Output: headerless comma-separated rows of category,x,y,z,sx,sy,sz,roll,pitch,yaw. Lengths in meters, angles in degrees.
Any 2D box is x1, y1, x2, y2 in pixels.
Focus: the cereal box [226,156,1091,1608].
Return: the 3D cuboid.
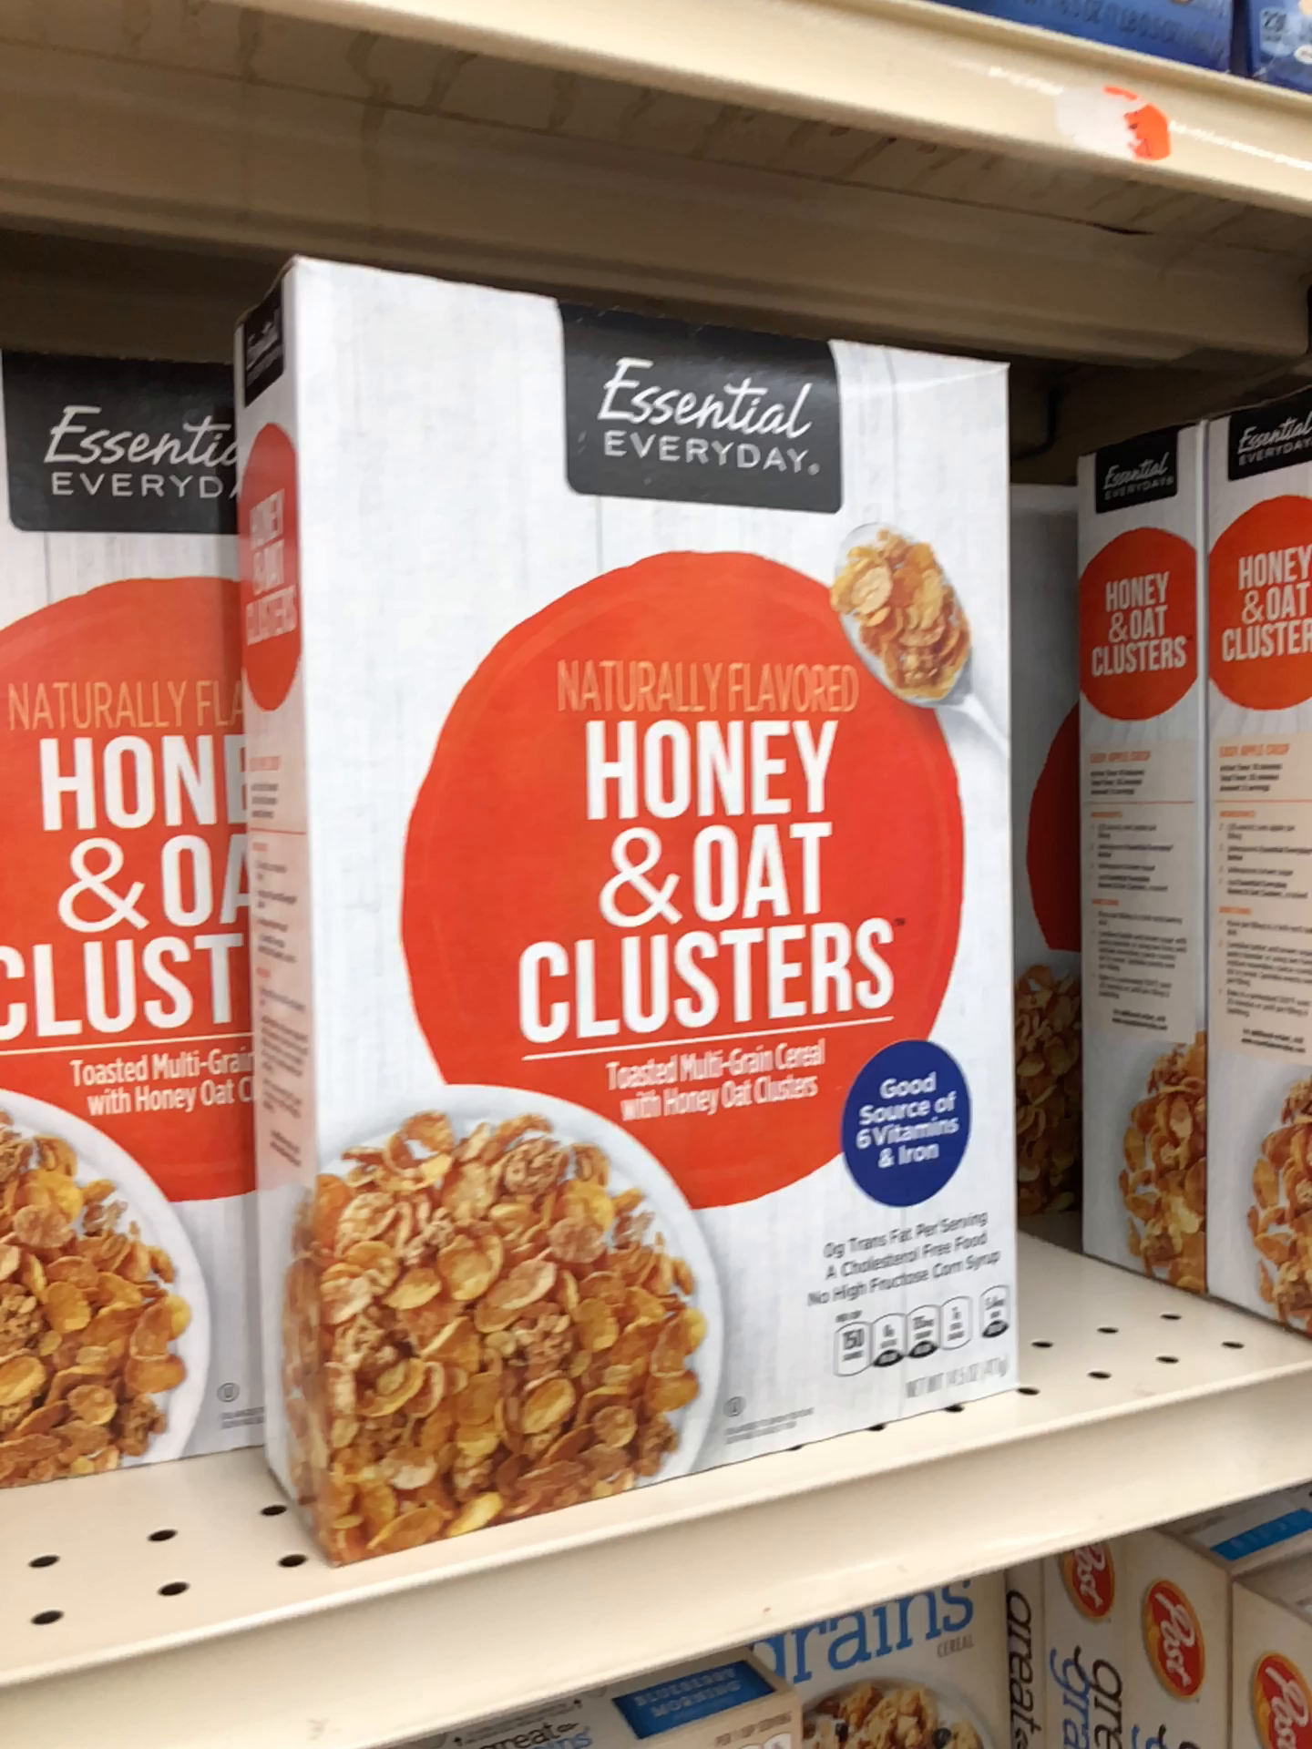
cereal box,0.007,0.000,0.378,0.210,0.300,0.070,-2,4,-26
